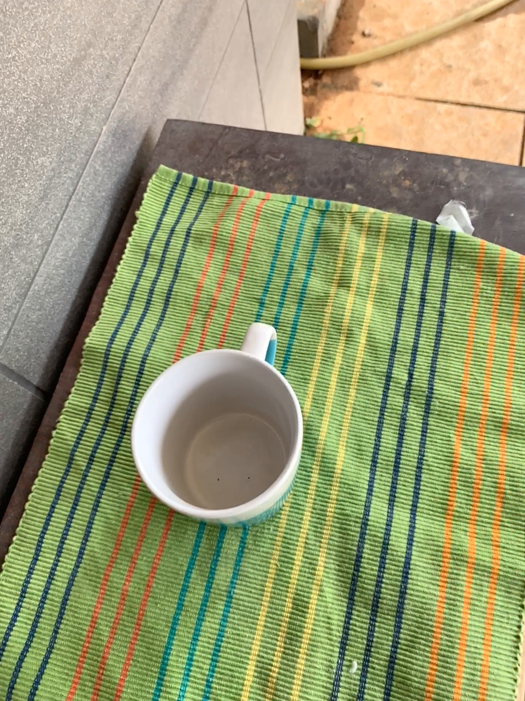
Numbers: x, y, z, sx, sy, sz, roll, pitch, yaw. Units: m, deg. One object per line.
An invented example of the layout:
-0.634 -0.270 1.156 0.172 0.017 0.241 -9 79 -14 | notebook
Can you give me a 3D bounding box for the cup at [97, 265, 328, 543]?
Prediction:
-0.019 0.037 0.351 0.100 0.100 0.140 9 69 11 | cup
